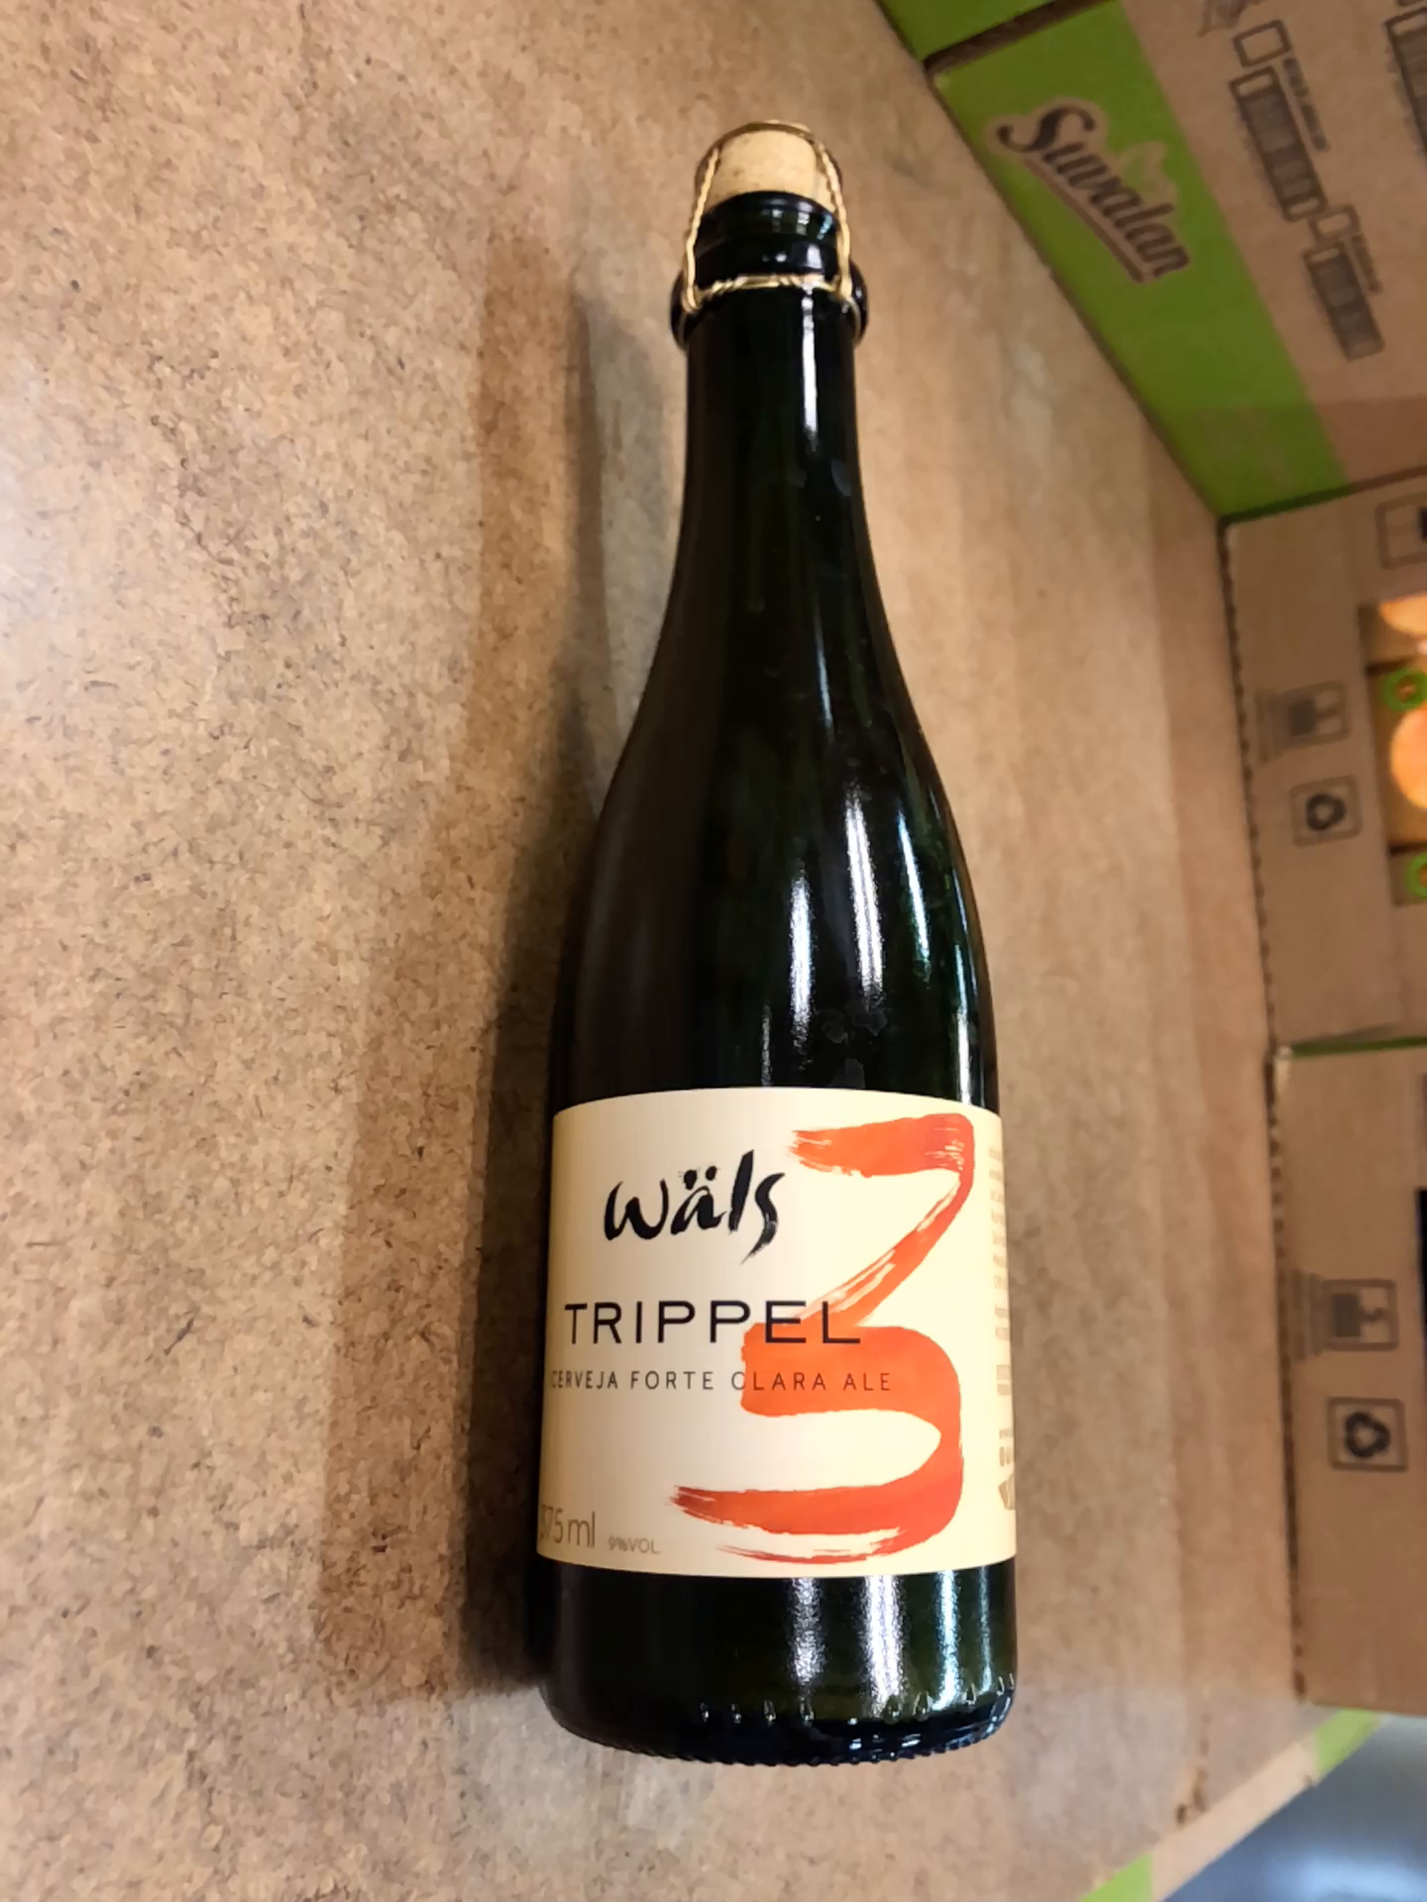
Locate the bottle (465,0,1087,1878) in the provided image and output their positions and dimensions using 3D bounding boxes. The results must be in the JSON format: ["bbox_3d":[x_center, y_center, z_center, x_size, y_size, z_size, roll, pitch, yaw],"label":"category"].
[{"bbox_3d":[0.013,-0.027,0.236,0.070,0.050,0.270,23,64,-55],"label":"bottle"}]
